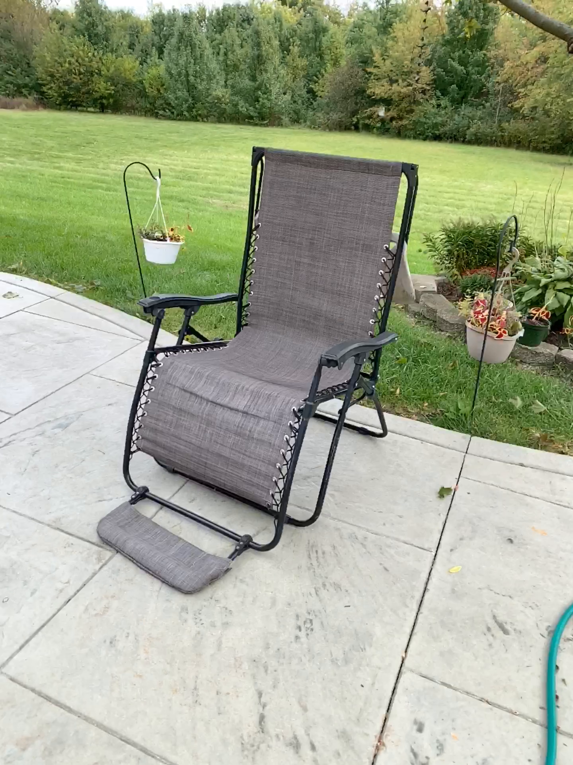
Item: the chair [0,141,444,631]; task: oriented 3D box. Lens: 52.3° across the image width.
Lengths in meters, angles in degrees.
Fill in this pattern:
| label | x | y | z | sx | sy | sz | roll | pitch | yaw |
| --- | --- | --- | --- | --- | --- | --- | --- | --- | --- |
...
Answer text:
| label | x | y | z | sx | sy | sz | roll | pitch | yaw |
| --- | --- | --- | --- | --- | --- | --- | --- | --- | --- |
| chair | -0.121 | -0.143 | 1.888 | 0.742 | 1.056 | 1.152 | 18 | 31 | 27 |
